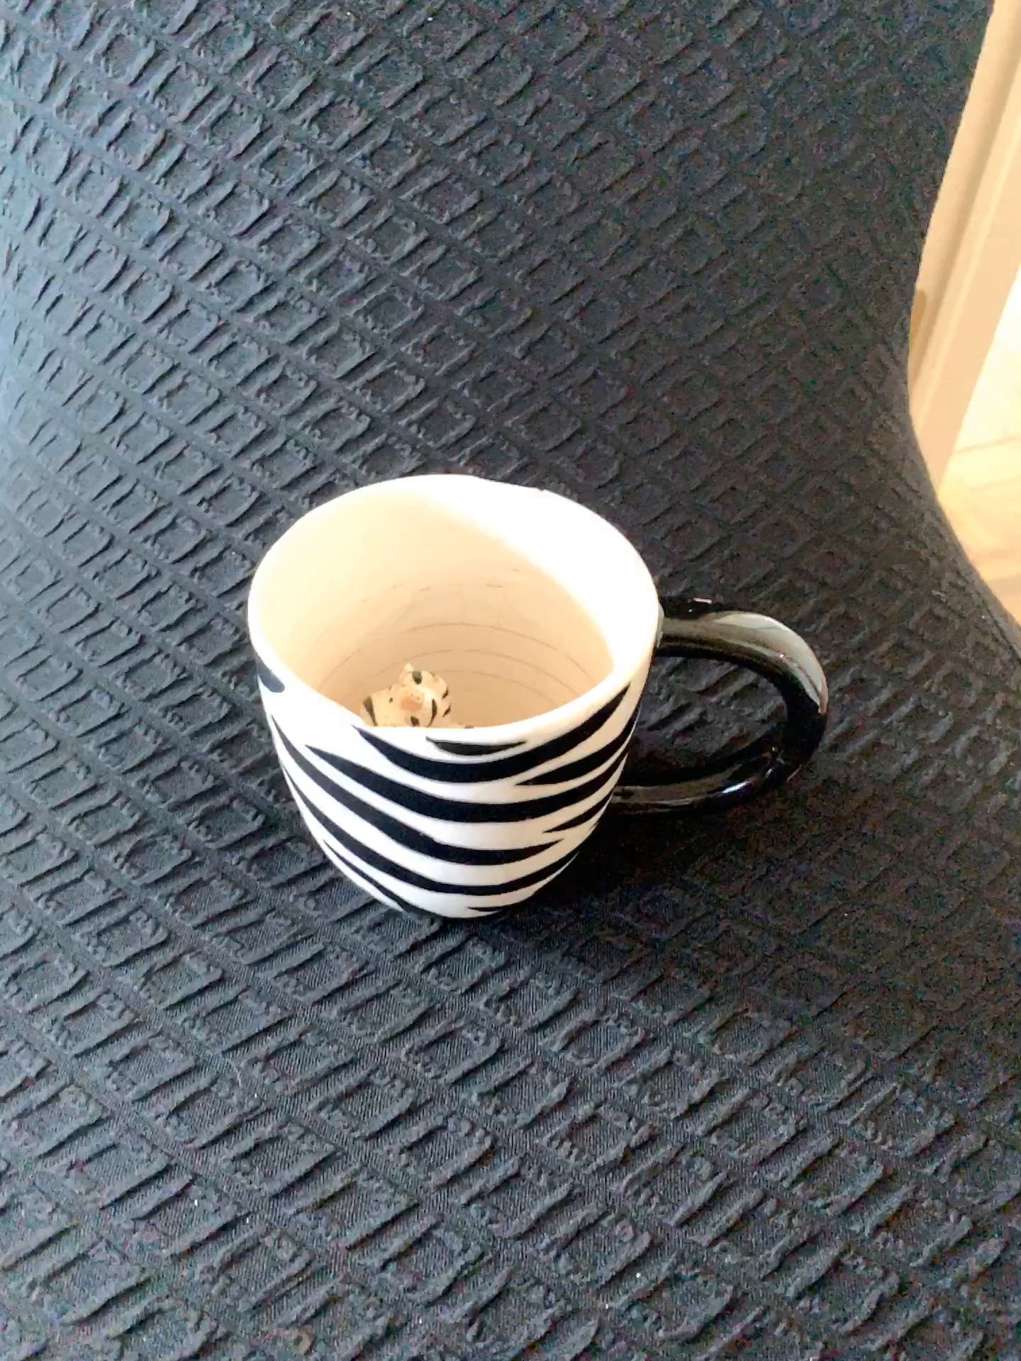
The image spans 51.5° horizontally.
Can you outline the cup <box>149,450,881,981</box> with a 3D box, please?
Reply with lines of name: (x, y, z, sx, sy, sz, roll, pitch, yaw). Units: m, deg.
cup: (0.004, 0.009, 0.261, 0.140, 0.090, 0.080, 5, 49, 5)
